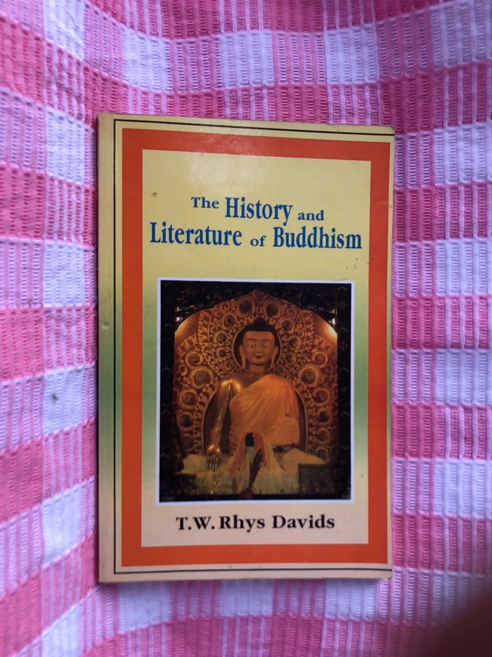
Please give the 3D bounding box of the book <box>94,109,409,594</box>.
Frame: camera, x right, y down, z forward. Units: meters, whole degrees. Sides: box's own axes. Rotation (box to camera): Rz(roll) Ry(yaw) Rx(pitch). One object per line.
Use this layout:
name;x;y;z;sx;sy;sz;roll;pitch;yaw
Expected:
book;0.002;0.013;0.260;0.020;0.140;0.220;-131;-138;-87
